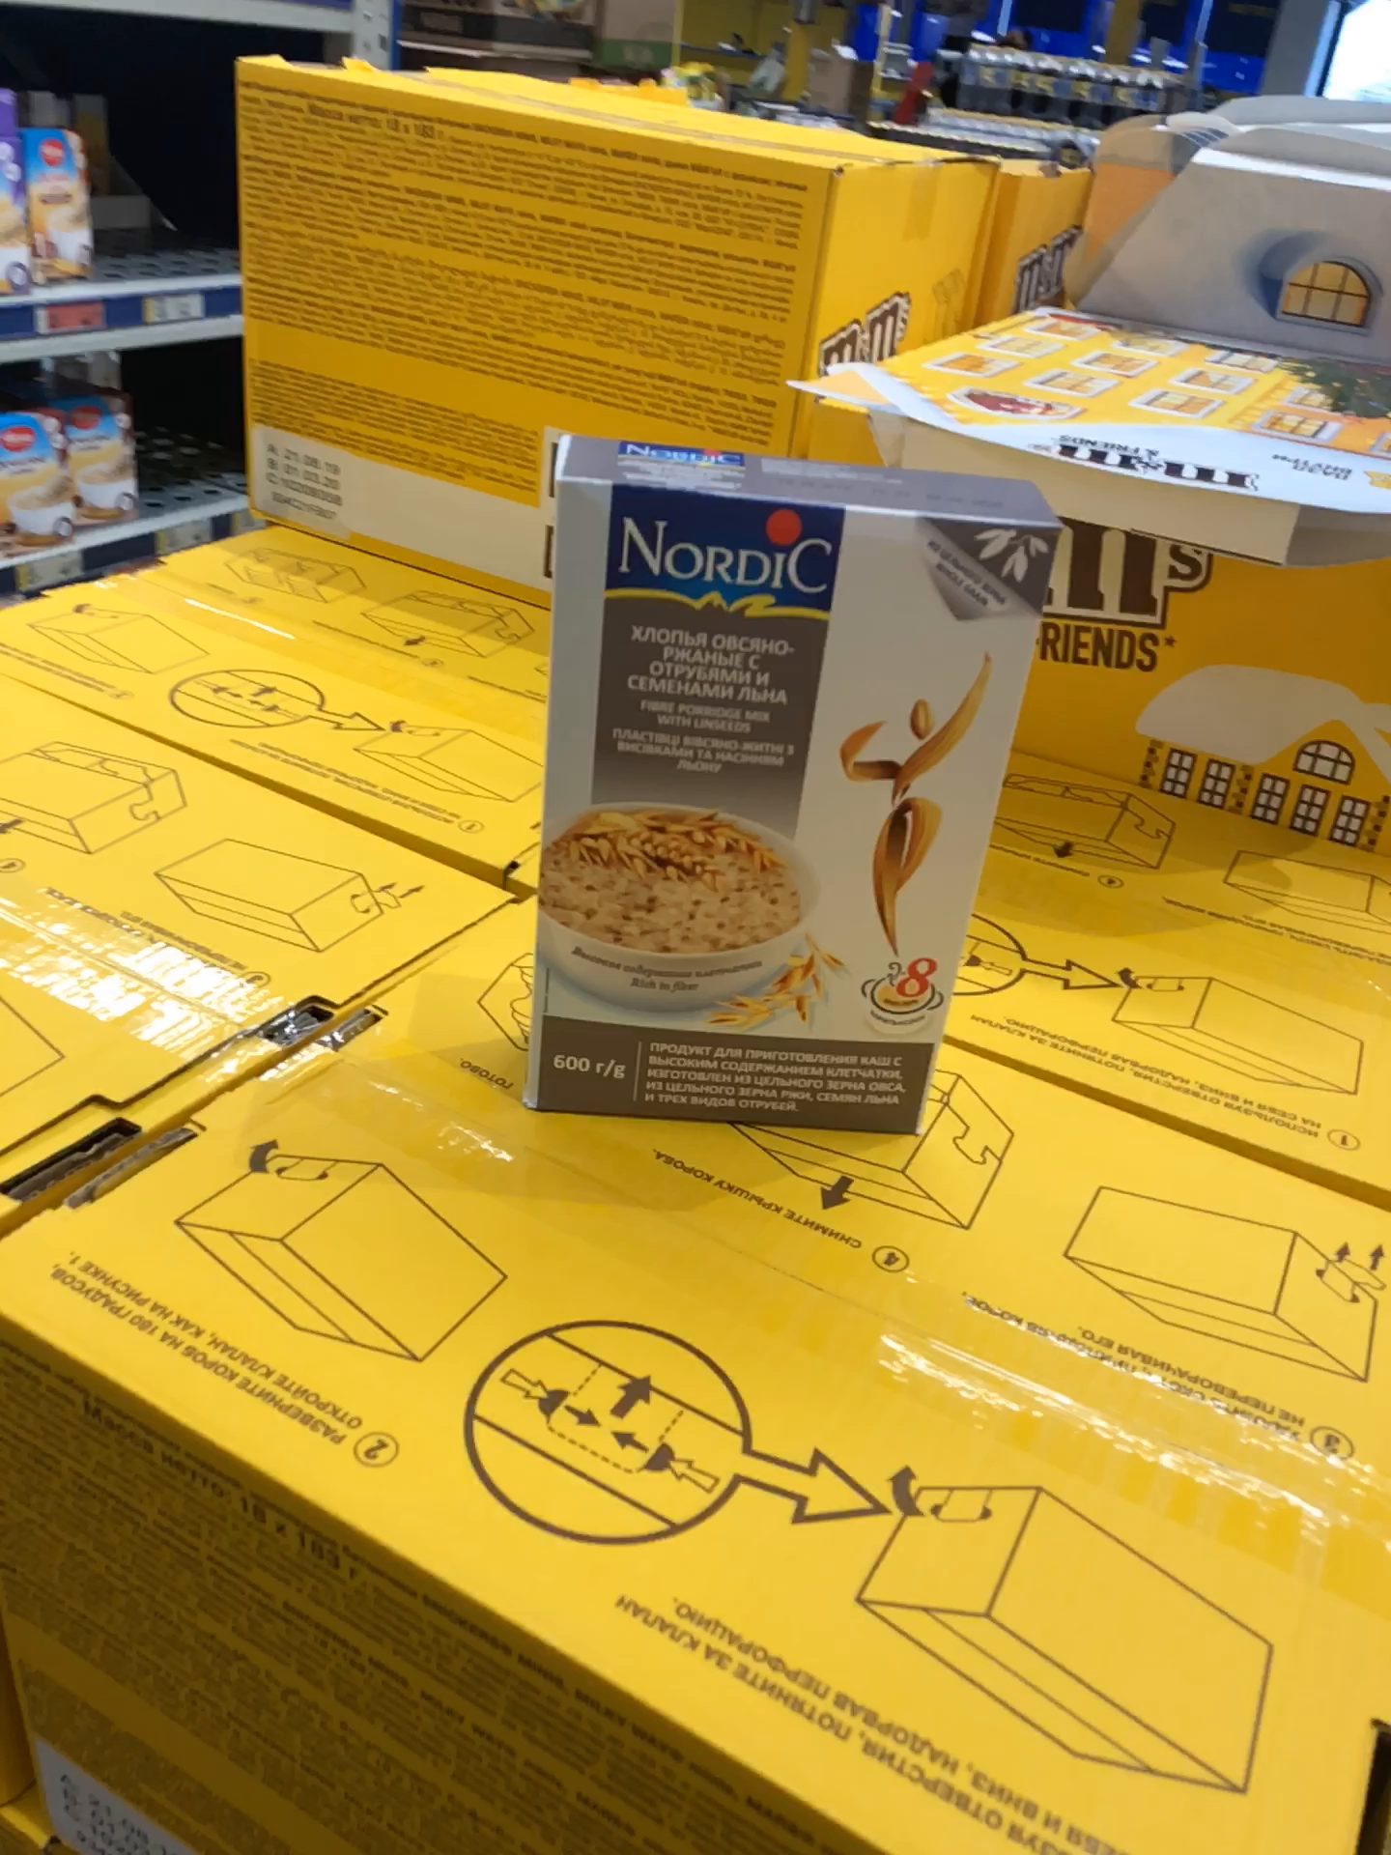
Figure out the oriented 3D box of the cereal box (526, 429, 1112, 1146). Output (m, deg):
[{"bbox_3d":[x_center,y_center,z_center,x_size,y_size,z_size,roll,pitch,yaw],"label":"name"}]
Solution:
[{"bbox_3d":[0.029,-0.036,0.496,0.150,0.218,0.050,5,31,-4],"label":"cereal box"}]
